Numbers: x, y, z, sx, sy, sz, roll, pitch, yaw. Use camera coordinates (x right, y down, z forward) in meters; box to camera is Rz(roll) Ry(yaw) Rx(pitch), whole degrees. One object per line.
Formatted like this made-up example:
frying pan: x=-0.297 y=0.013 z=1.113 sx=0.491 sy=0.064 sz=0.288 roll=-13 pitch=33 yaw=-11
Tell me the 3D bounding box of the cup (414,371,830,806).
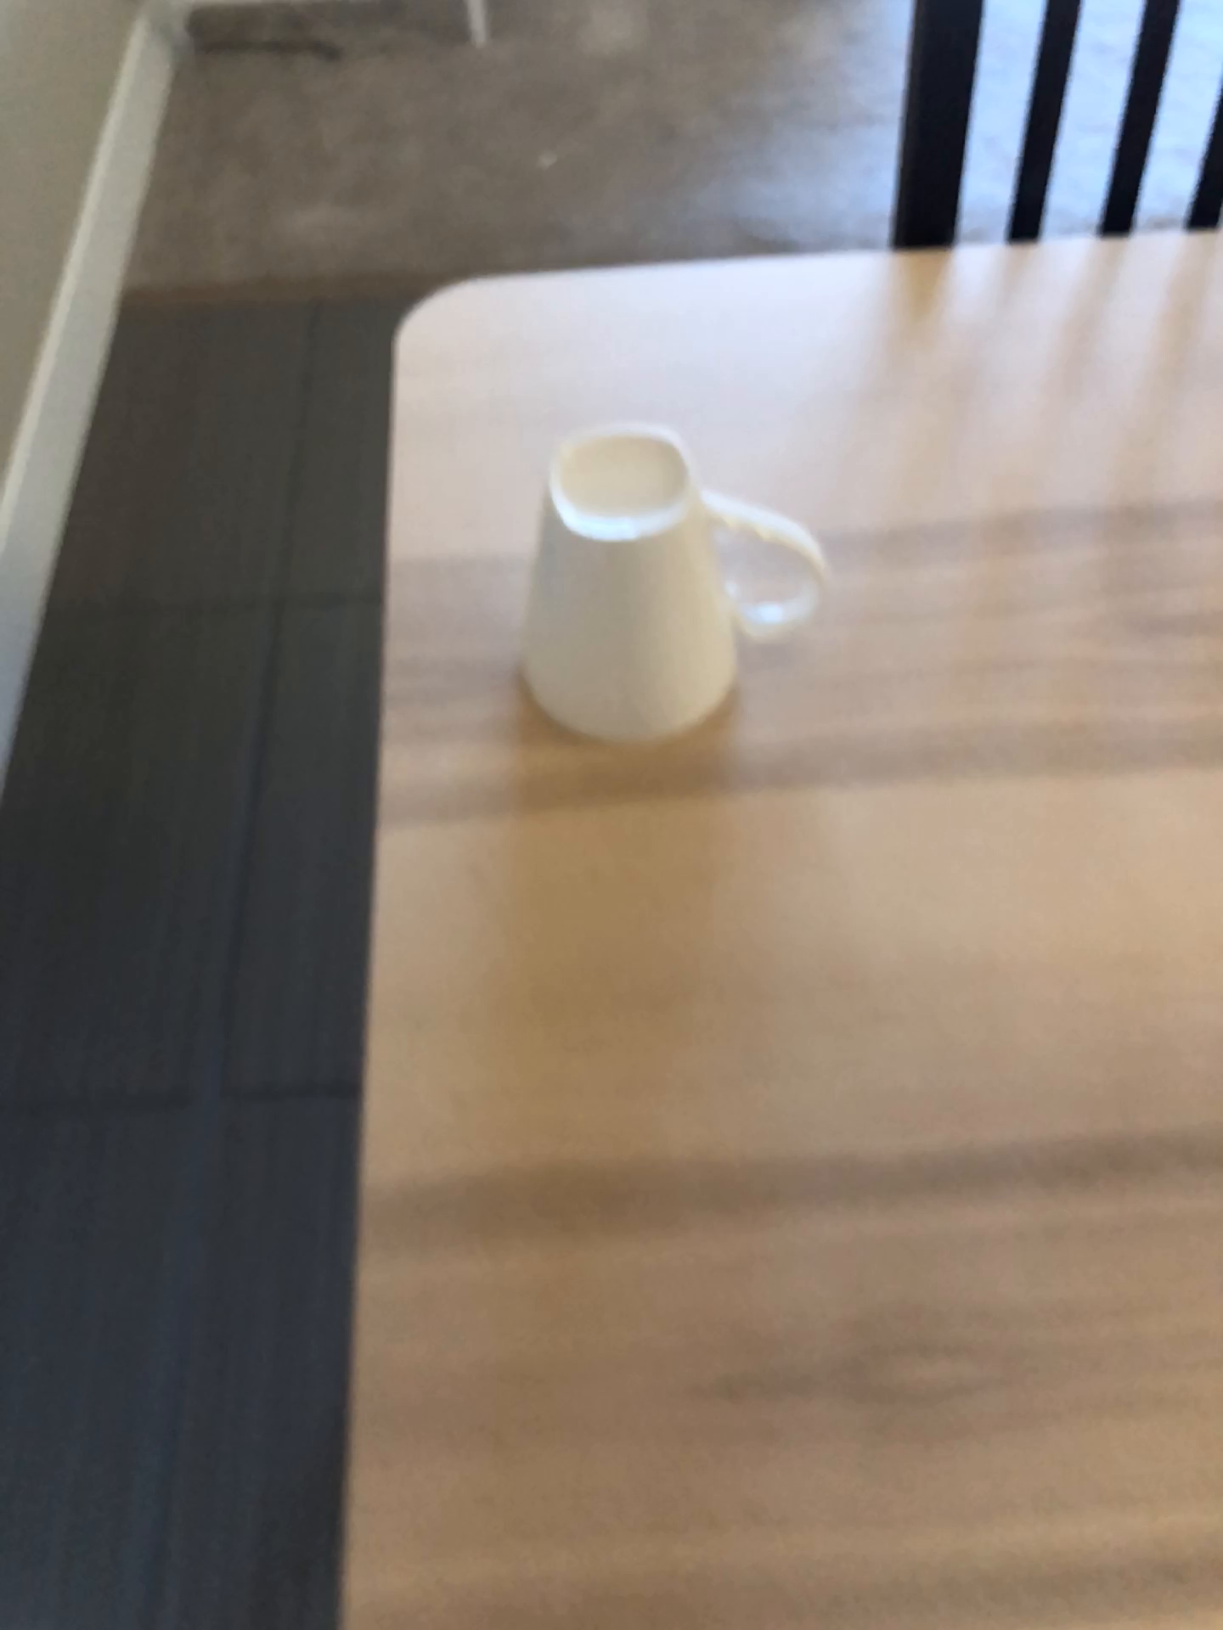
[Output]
cup: x=0.004 y=-0.092 z=0.576 sx=0.140 sy=0.120 sz=0.100 roll=-12 pitch=56 yaw=-5
